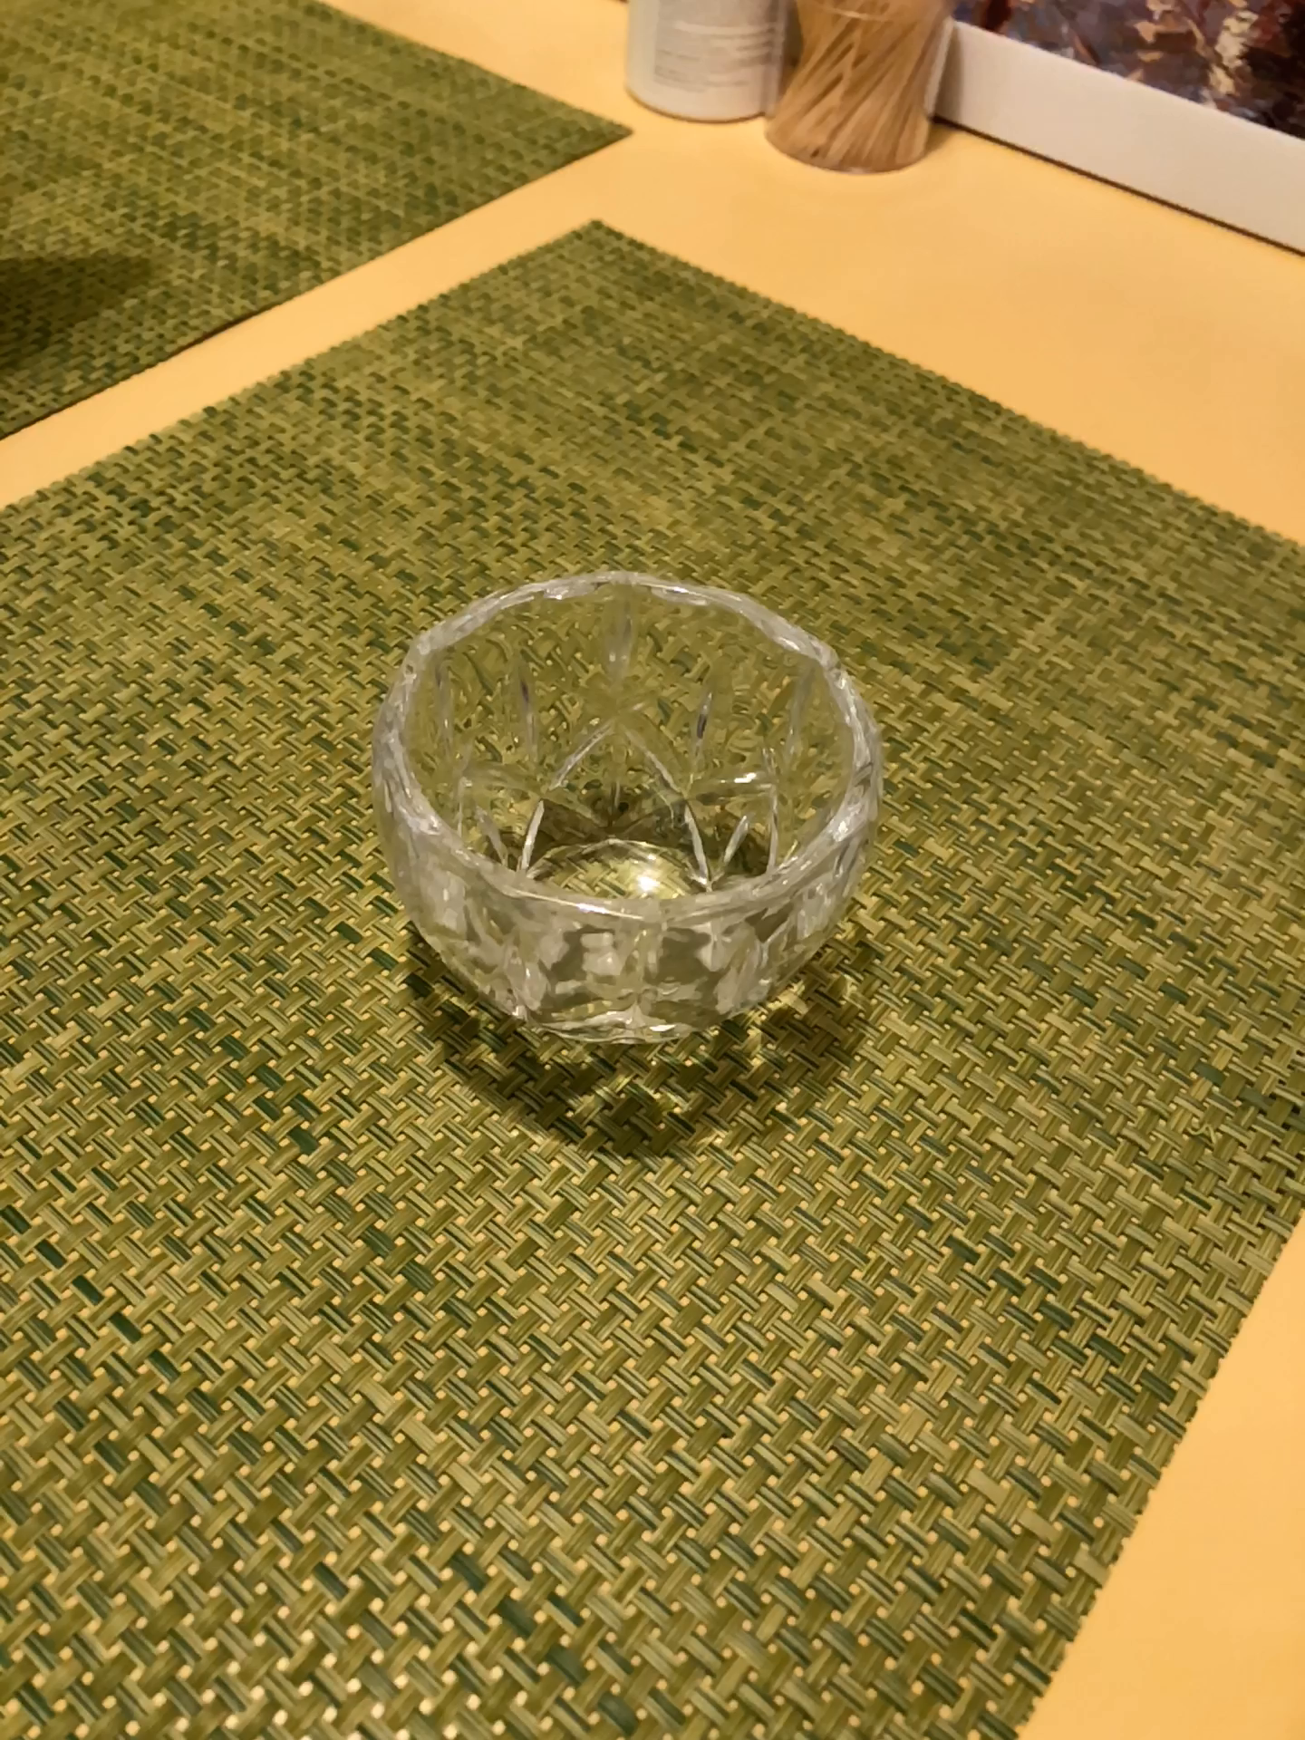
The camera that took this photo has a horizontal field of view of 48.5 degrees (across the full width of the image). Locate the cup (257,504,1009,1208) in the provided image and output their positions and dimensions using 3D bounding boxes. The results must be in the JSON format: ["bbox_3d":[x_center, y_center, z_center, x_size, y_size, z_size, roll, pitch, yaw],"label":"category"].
[{"bbox_3d":[-0.005,-0.007,0.221,0.080,0.045,0.072,-27,57,-27],"label":"cup"}]
